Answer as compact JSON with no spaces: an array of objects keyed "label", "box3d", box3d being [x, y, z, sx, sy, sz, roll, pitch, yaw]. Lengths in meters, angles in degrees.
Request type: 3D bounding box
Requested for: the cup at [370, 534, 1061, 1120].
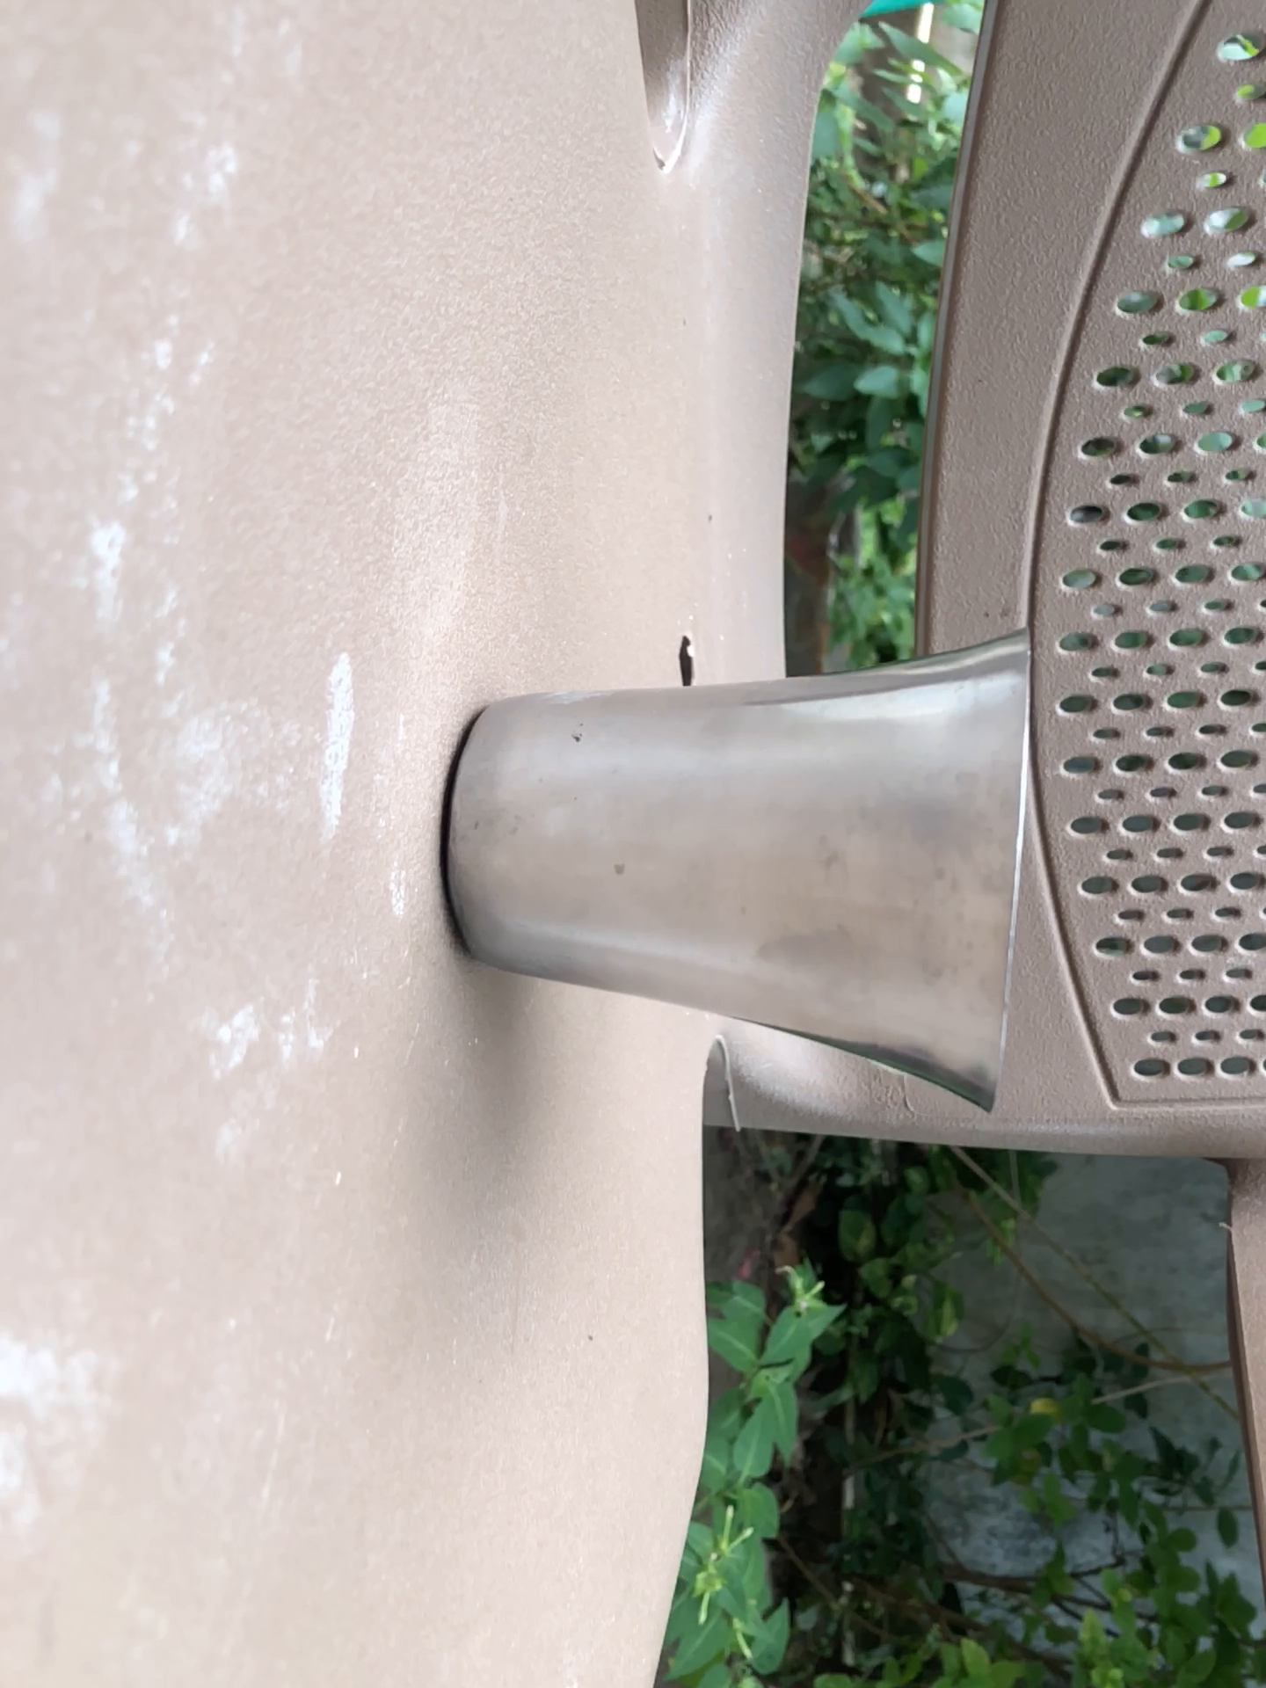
[{"label":"cup","box3d":[0.021,-0.002,0.253,0.070,0.099,0.080,51,47,-66]}]
